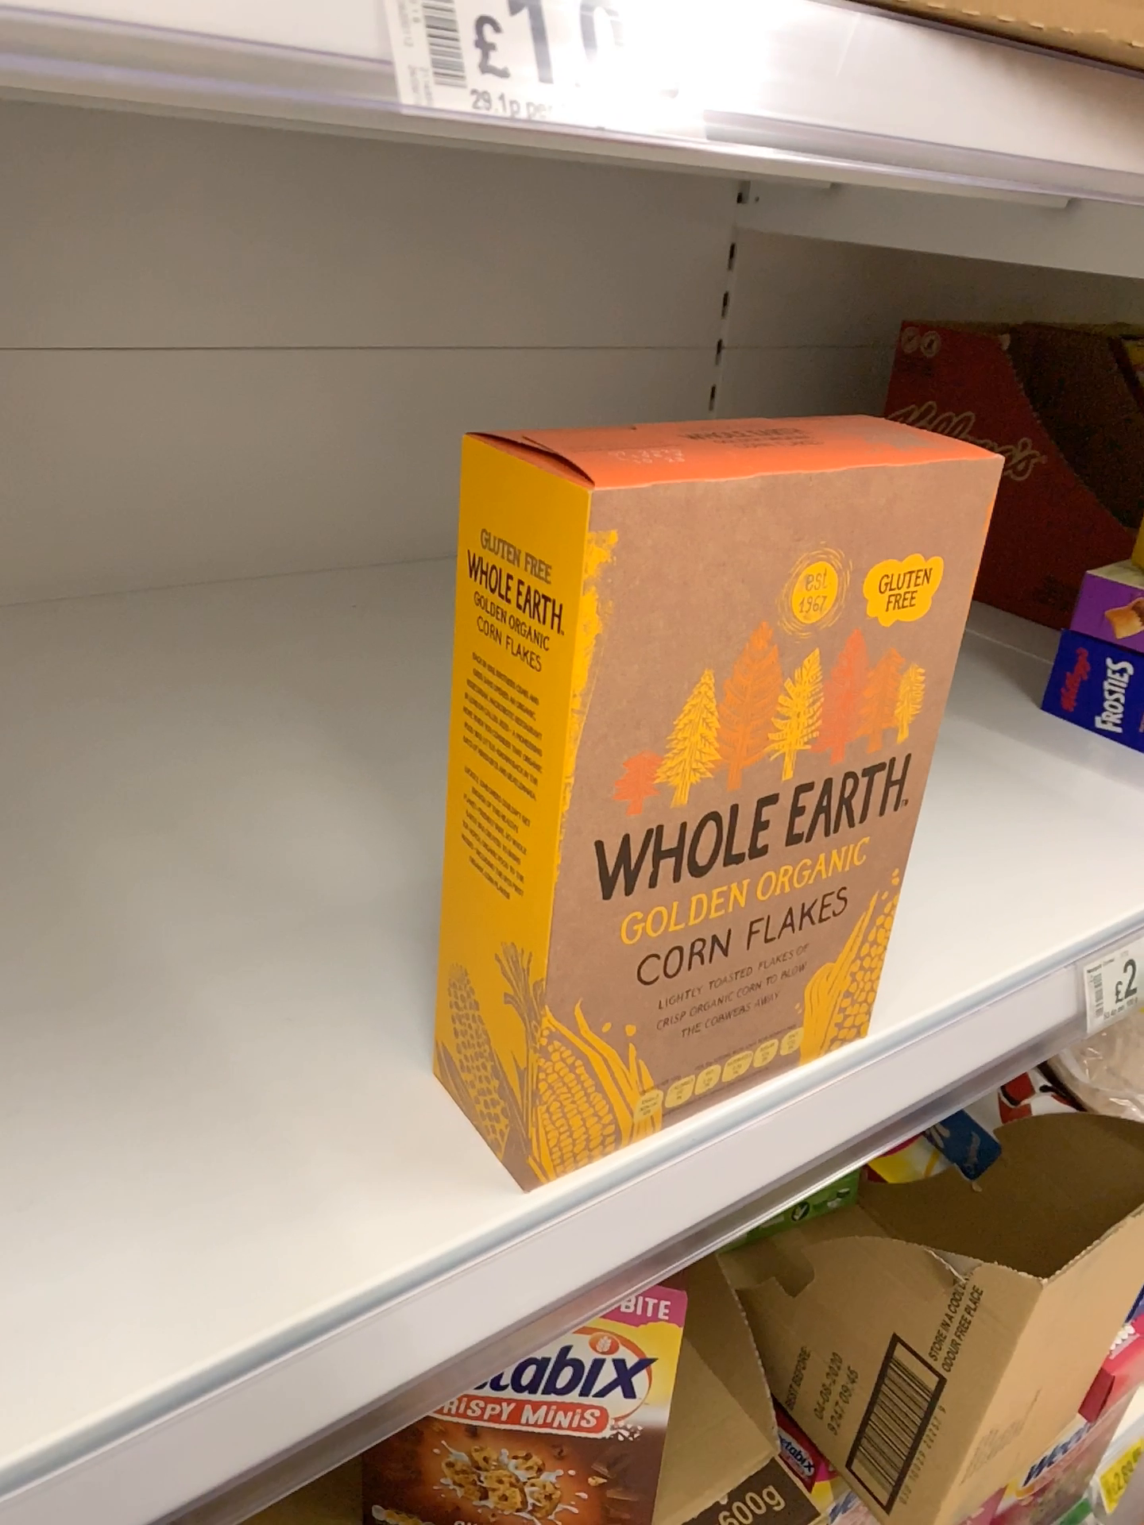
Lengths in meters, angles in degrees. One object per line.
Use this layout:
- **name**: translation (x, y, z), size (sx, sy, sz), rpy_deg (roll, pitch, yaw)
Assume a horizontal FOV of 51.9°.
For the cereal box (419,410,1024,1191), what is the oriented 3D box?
- **cereal box**: translation (0.052, 0.005, 0.478), size (0.201, 0.268, 0.090), rpy_deg (-13, 30, -33)
